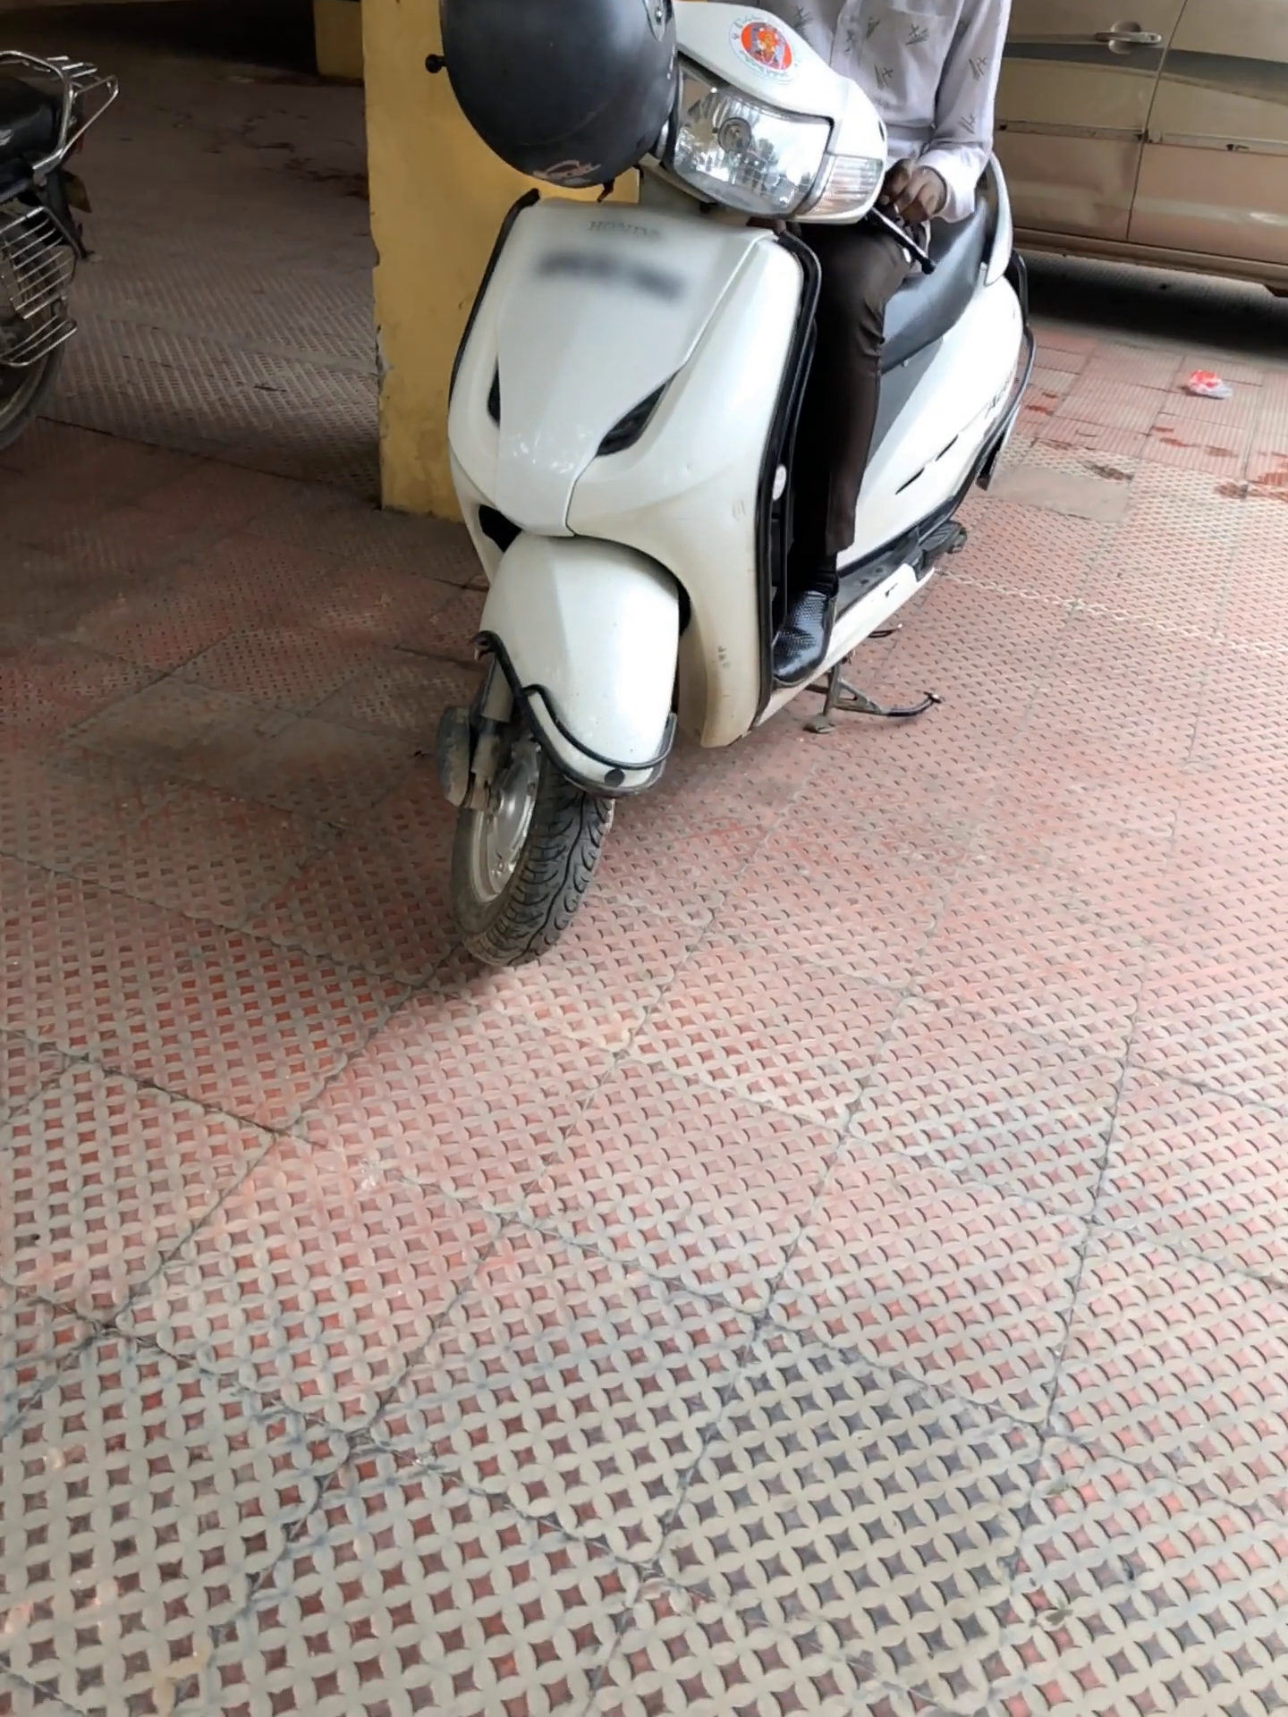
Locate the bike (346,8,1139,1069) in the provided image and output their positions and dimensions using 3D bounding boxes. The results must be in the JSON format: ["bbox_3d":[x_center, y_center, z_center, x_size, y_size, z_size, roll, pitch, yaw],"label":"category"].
[{"bbox_3d":[0.215,-0.633,2.268,0.656,1.107,1.398,17,37,17],"label":"bike"}]
